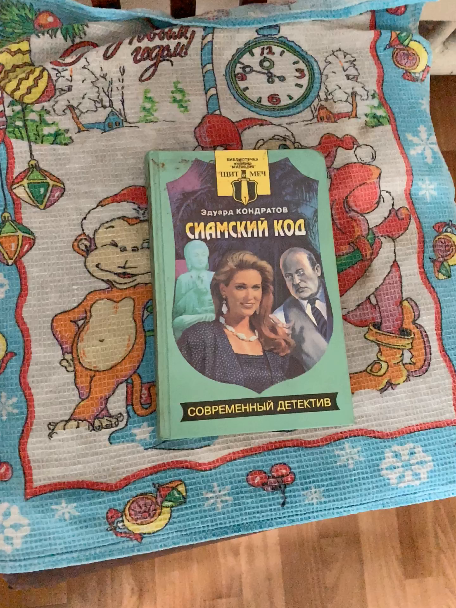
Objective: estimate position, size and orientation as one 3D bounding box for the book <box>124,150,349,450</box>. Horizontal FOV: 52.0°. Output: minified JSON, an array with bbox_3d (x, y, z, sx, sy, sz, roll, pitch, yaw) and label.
[{"bbox_3d":[0.003,-0.008,0.331,0.140,0.023,0.200,-3,81,-6],"label":"book"}]
